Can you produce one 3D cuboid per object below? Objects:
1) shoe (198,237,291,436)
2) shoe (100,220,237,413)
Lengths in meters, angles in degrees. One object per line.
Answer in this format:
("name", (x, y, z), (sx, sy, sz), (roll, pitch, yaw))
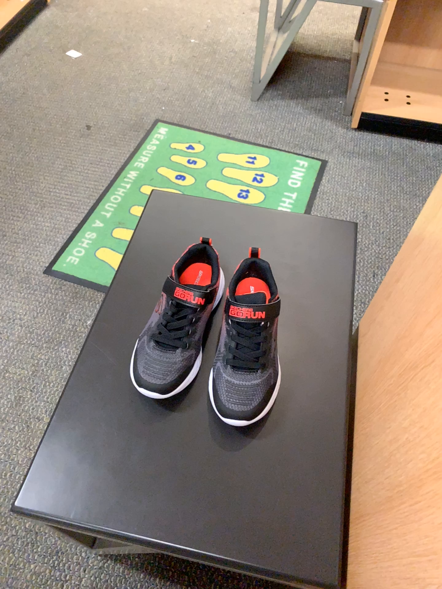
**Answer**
("shoe", (0.034, 0.047, 0.590), (0.090, 0.080, 0.241), (8, 55, 3))
("shoe", (-0.059, 0.021, 0.615), (0.098, 0.080, 0.241), (15, 56, 8))
